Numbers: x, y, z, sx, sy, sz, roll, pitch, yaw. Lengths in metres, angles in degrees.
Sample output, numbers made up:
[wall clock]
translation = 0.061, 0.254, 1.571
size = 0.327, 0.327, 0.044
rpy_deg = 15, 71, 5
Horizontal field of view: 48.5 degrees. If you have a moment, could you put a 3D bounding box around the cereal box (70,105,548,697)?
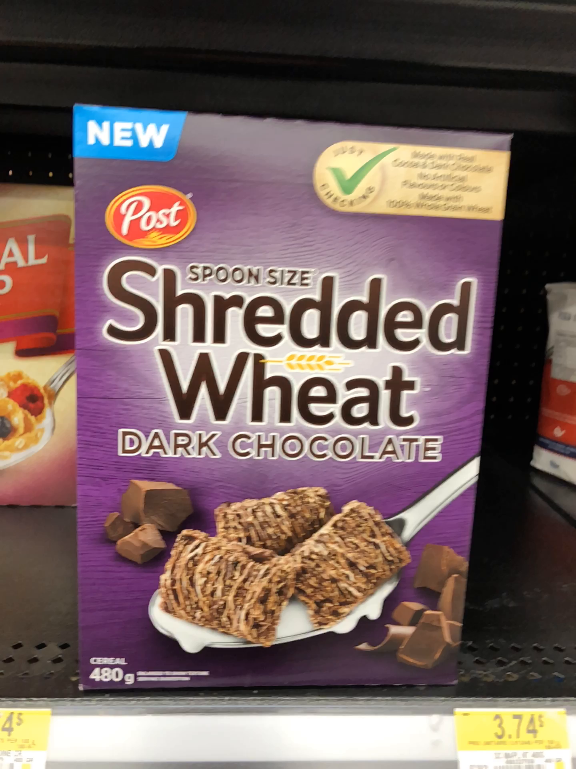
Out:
[cereal box]
translation = 0.004, 0.016, 0.321
size = 0.200, 0.269, 0.060
rpy_deg = 2, 11, -5
